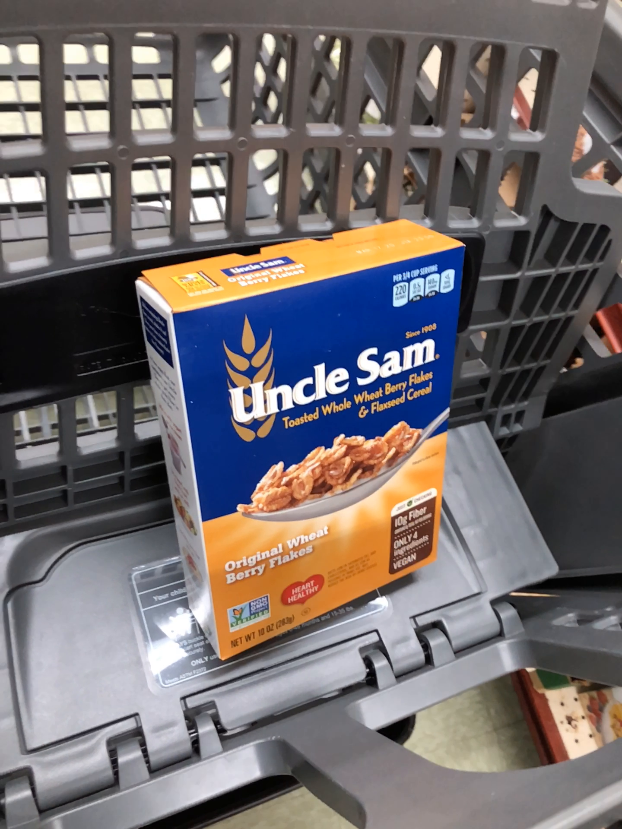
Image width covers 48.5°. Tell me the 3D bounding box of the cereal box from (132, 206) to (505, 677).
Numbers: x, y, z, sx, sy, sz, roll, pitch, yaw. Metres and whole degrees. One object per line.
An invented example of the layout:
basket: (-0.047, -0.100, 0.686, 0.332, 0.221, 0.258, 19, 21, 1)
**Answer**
cereal box: (0.010, 0.015, 0.358, 0.160, 0.210, 0.050, -18, 35, -24)
